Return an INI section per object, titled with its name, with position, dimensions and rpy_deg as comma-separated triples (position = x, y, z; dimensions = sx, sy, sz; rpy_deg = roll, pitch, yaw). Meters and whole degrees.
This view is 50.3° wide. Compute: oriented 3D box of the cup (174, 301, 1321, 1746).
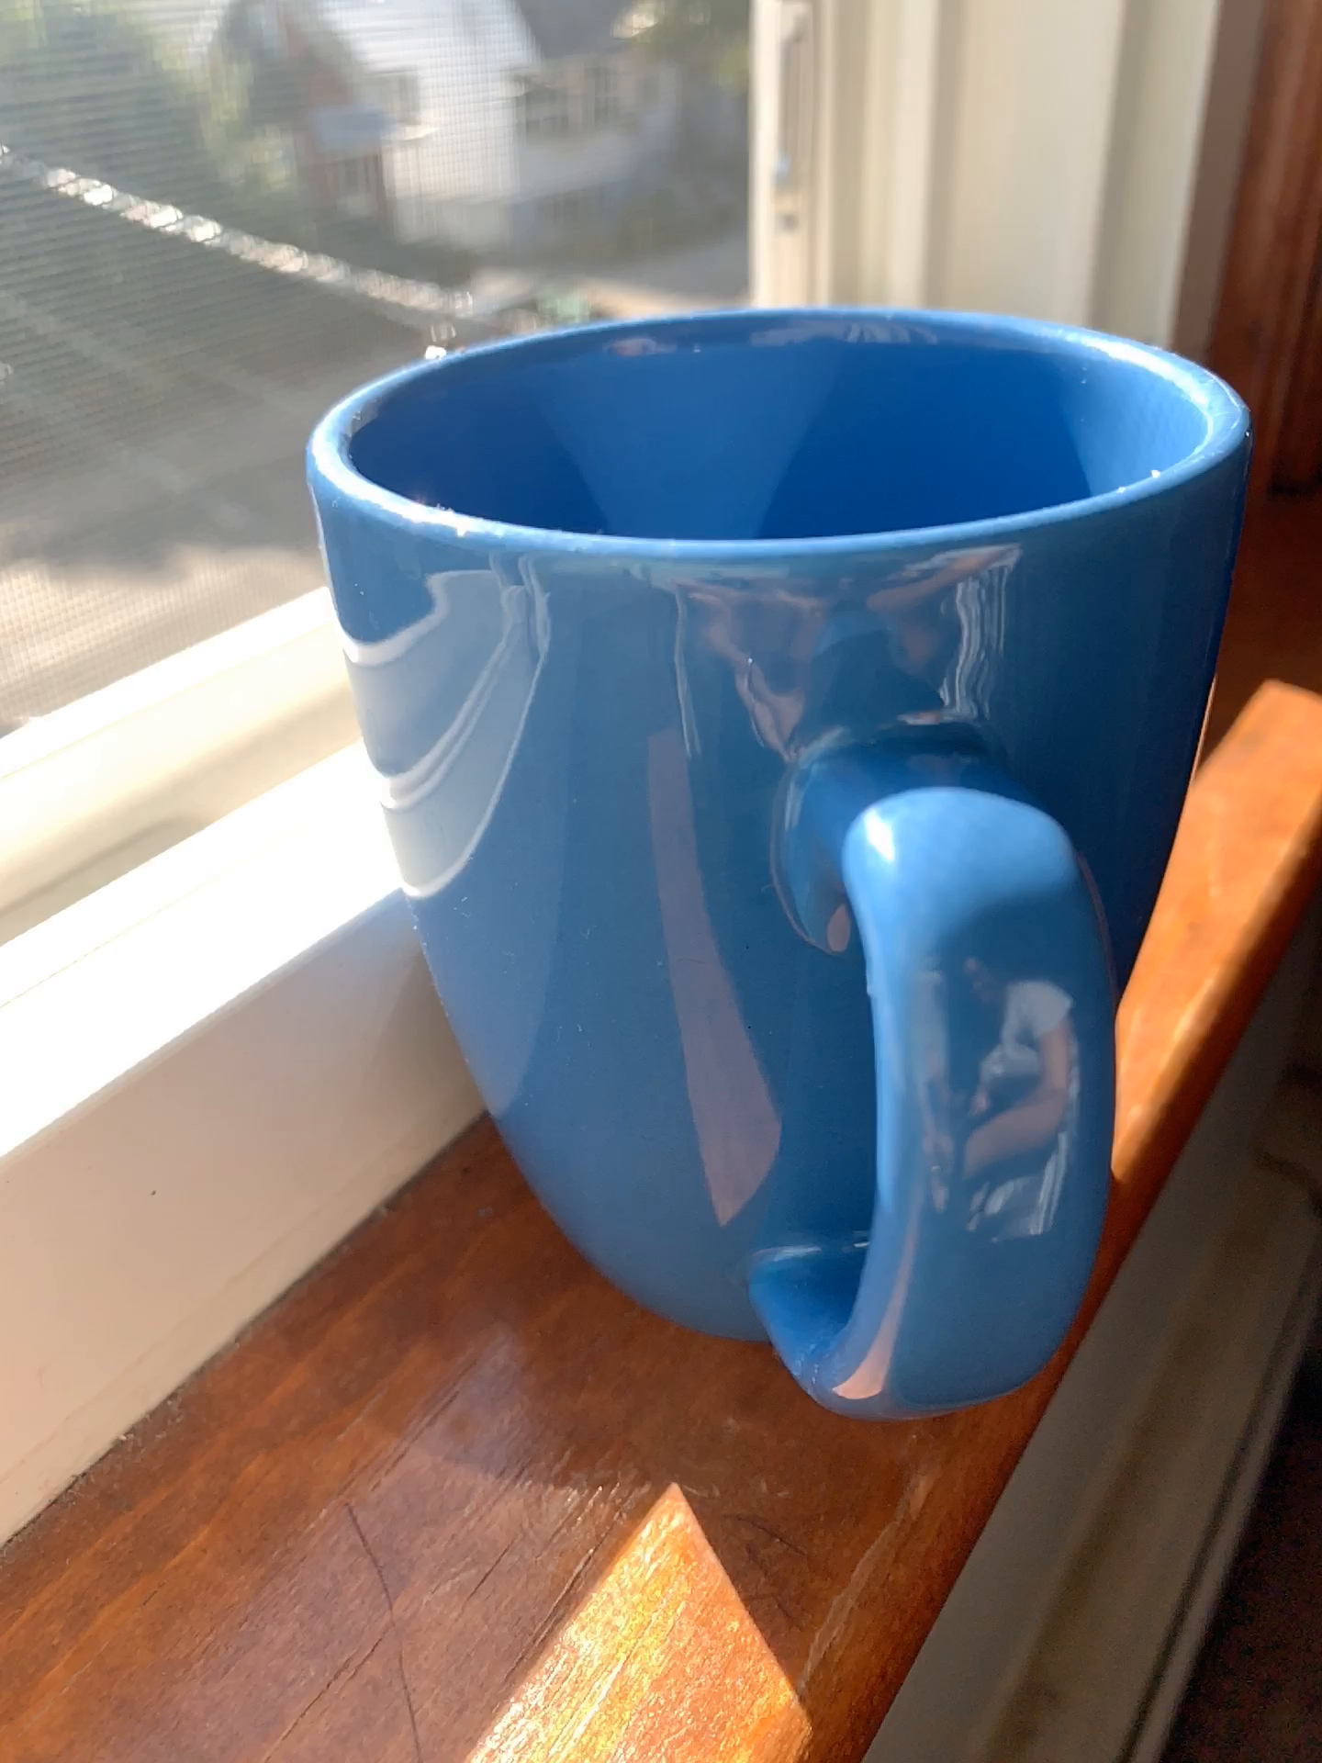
[cup]
position = 0.011, 0.002, 0.148
dimensions = 0.081, 0.095, 0.114
rpy_deg = -4, 32, -4
